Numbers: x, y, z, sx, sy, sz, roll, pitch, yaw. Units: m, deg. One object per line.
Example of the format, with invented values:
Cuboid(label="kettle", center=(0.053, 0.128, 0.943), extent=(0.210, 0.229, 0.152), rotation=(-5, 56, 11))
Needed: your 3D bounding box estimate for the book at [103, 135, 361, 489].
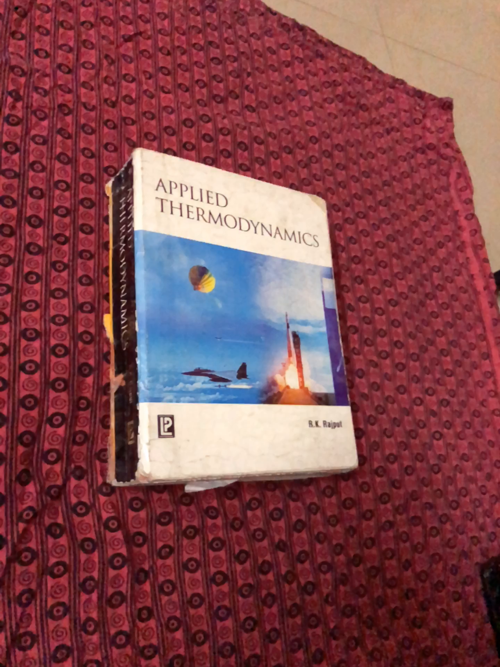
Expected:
Cuboid(label="book", center=(-0.016, -0.010, 0.432), extent=(0.179, 0.060, 0.240), rotation=(6, 70, -32))
